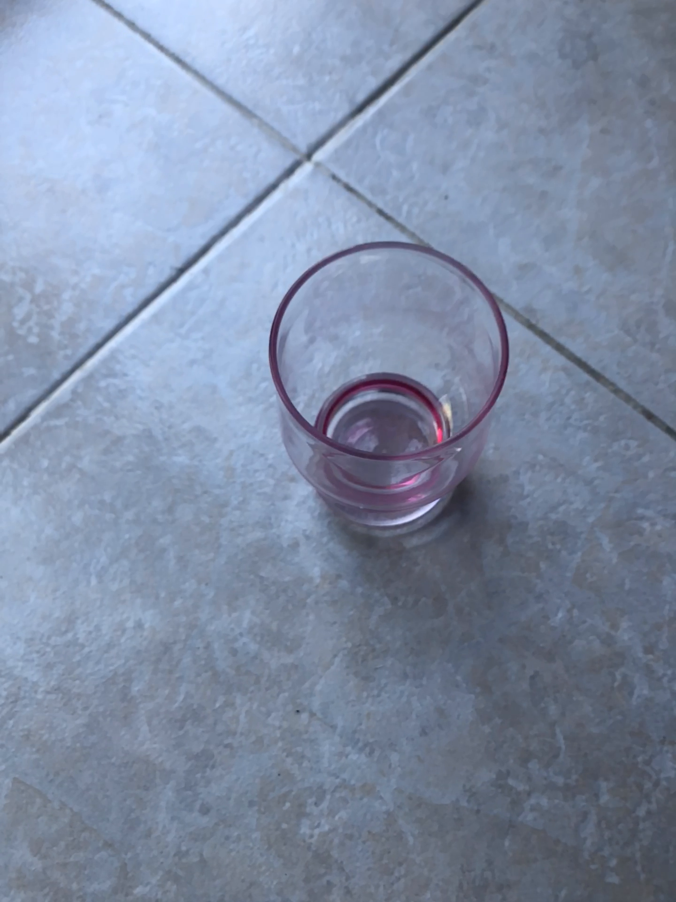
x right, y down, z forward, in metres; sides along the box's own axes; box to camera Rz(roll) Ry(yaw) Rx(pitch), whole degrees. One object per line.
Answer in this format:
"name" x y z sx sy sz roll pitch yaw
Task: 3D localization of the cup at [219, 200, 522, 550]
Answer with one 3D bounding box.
"cup" 0.011 -0.018 0.257 0.079 0.102 0.079 0 72 0
